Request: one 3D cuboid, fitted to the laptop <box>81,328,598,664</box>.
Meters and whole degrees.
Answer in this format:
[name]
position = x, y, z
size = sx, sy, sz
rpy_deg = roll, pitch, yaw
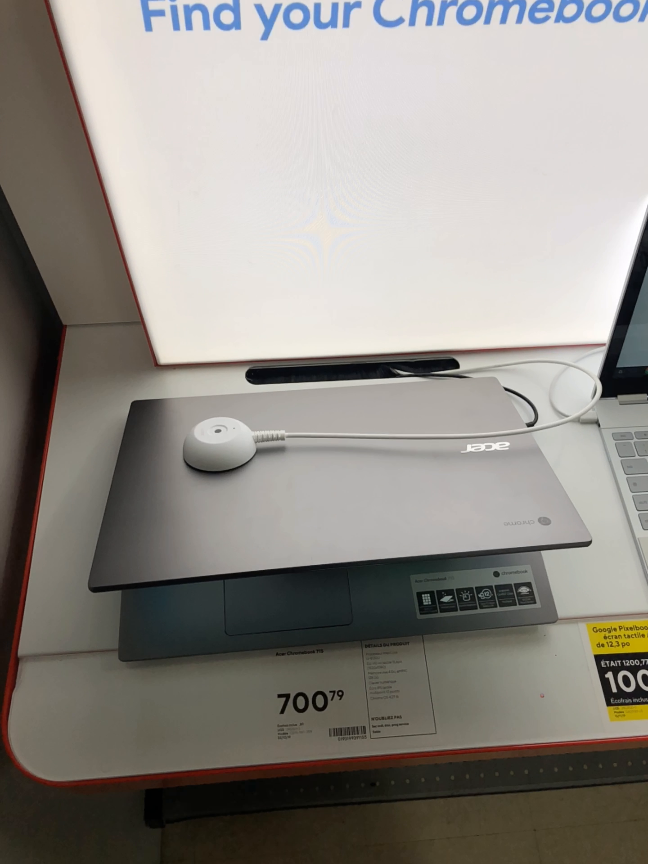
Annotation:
[laptop]
position = 0.003, 0.046, 0.596
size = 0.356, 0.105, 0.236
rpy_deg = -4, 58, -4
